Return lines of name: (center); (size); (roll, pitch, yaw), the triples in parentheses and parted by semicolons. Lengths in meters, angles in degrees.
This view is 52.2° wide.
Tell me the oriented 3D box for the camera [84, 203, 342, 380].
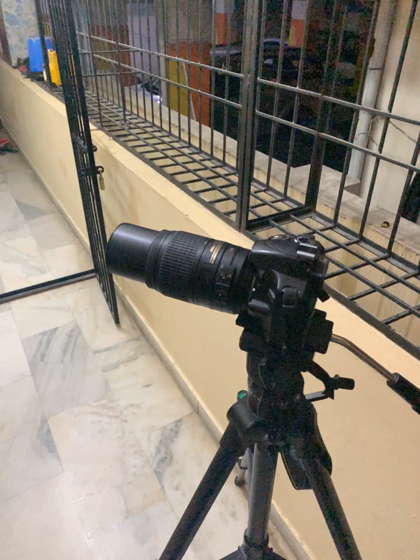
camera: (0.006, 0.001, 0.453); (0.230, 0.090, 0.120); (12, 36, 17)
